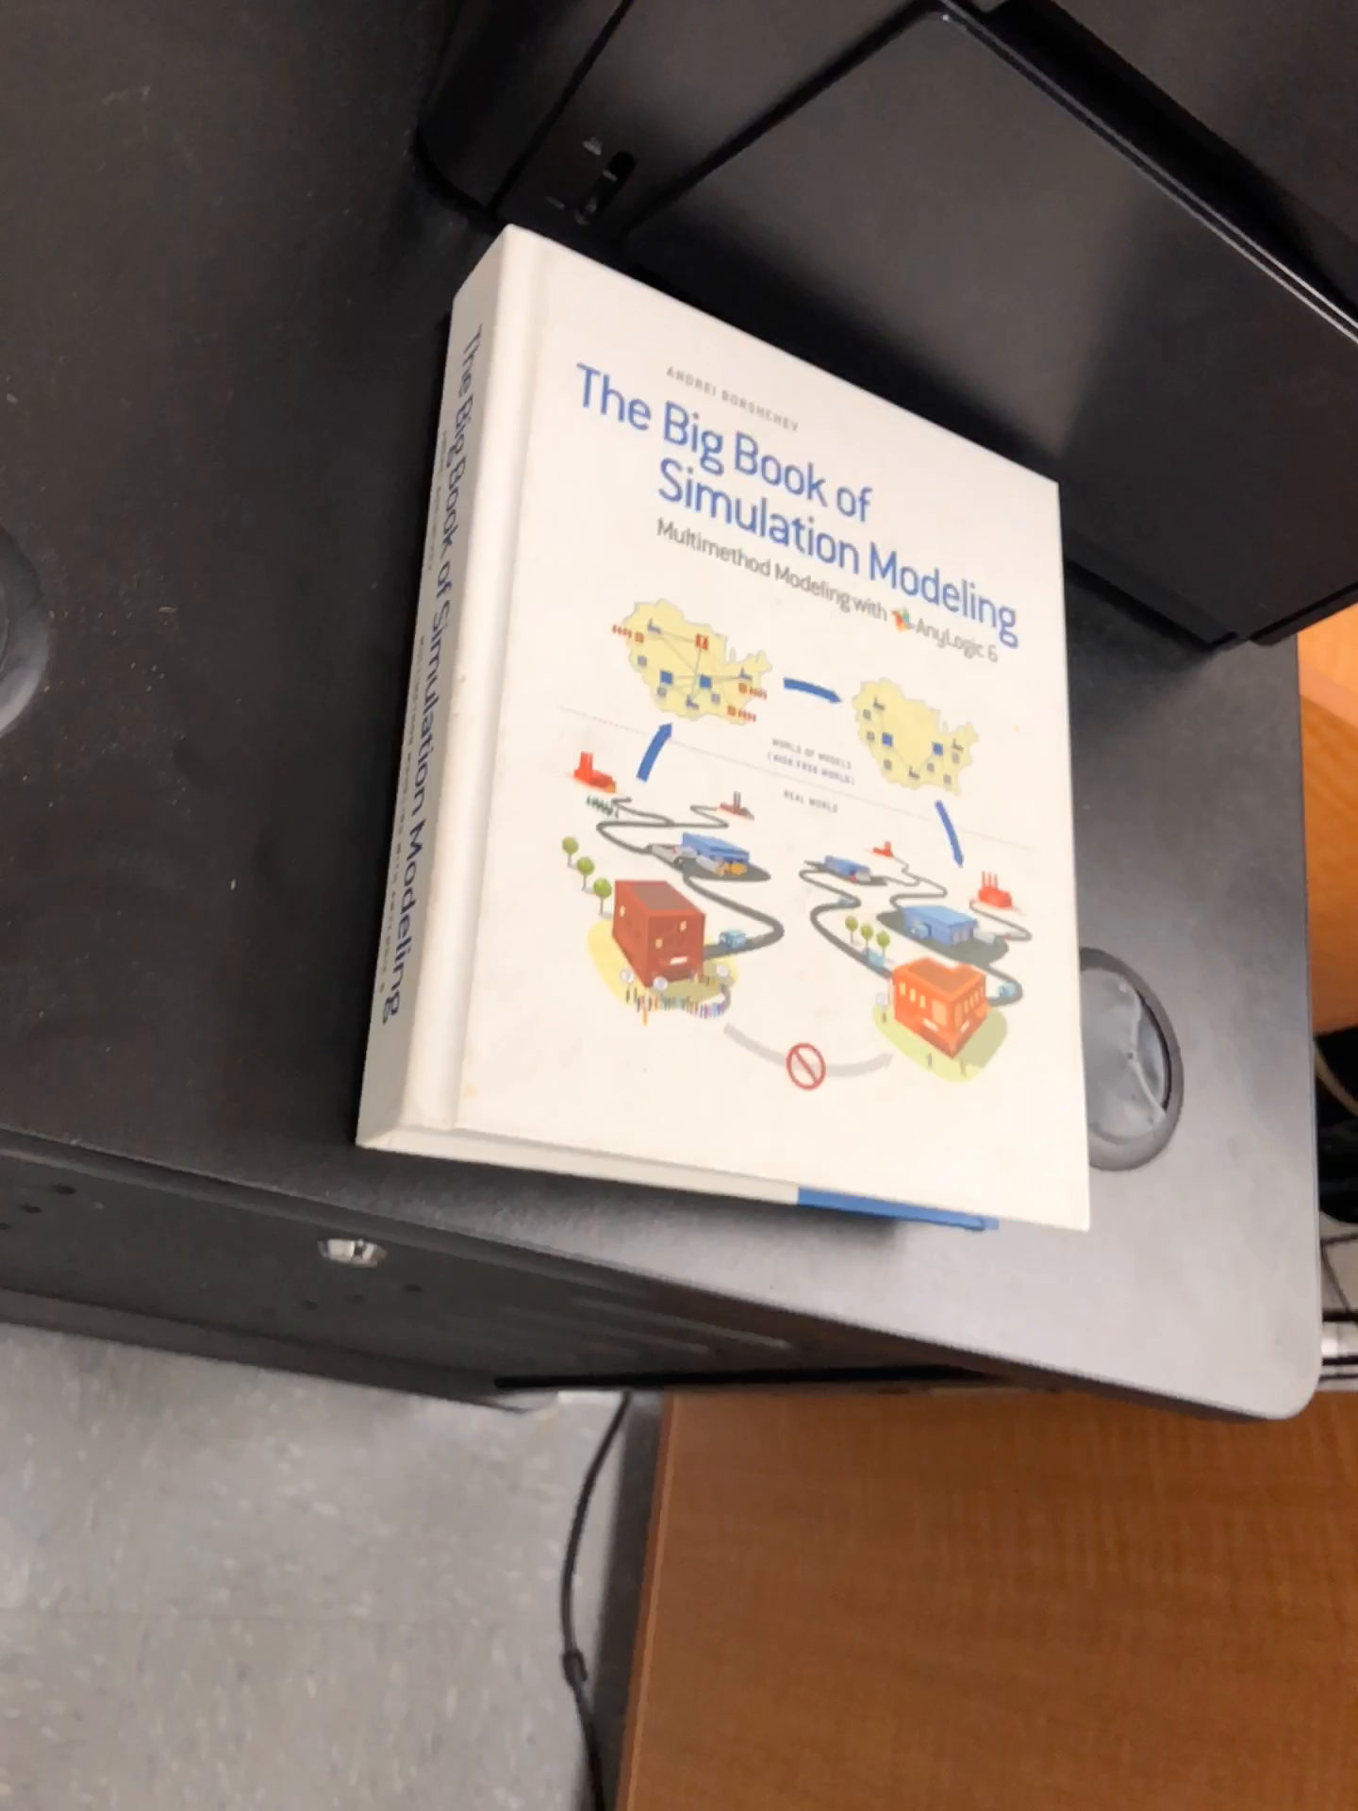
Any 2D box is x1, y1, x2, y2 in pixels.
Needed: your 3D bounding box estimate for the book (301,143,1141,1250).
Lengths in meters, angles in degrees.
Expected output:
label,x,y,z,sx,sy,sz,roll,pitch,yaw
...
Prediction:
label,x,y,z,sx,sy,sz,roll,pitch,yaw
book,0.024,-0.047,0.408,0.210,0.050,0.250,14,67,-28
